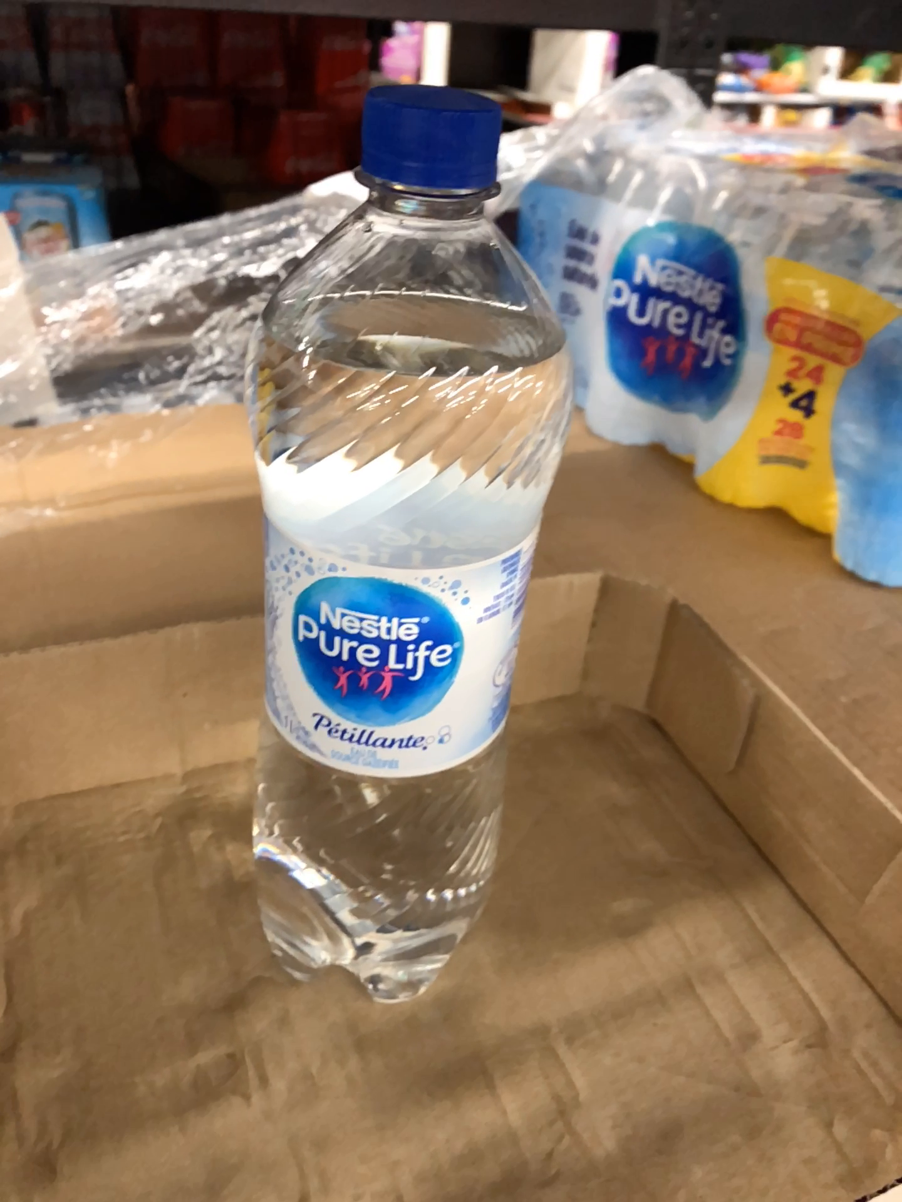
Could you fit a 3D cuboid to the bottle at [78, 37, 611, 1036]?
[{"bbox_3d":[-0.026,-0.008,0.309,0.100,0.278,0.101,4,32,-2],"label":"bottle"}]
